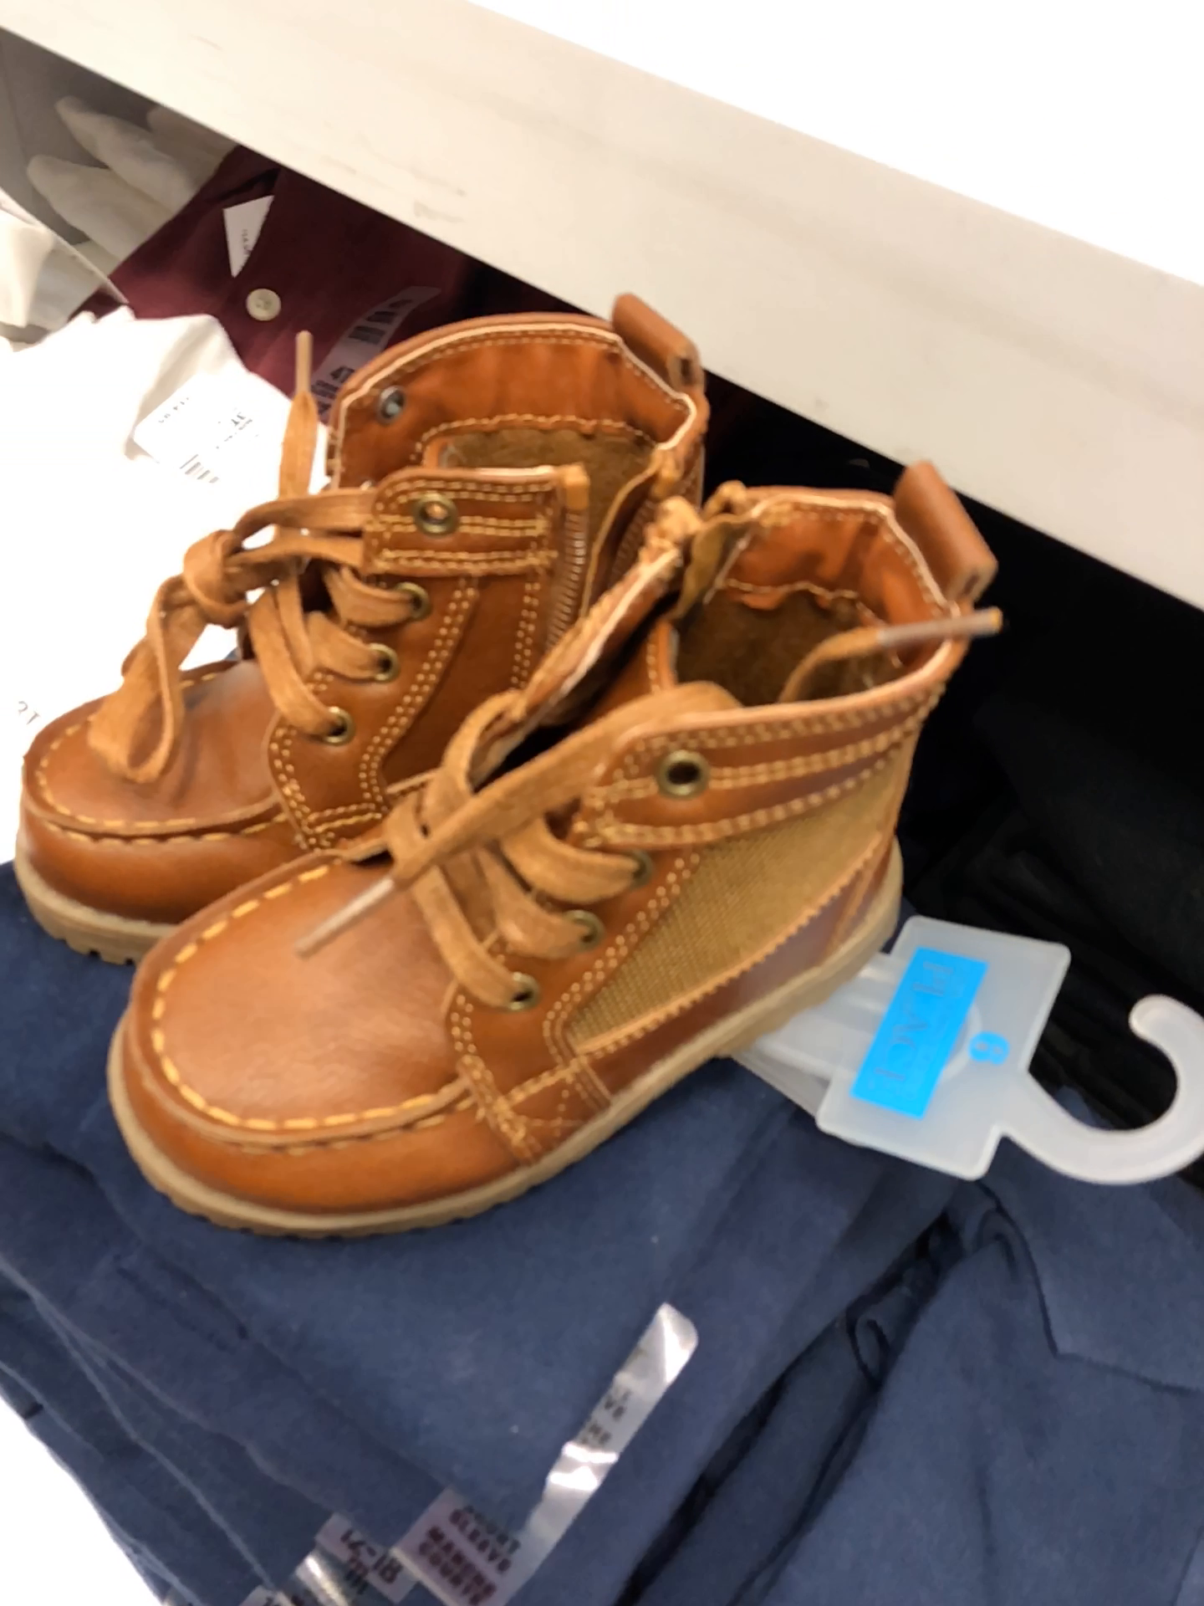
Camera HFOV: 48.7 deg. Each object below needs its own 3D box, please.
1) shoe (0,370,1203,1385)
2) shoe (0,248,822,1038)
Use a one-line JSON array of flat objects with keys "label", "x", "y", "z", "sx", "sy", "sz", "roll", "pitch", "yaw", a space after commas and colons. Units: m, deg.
[{"label": "shoe", "x": -0.003, "y": 0.011, "z": 0.218, "sx": 0.161, "sy": 0.101, "sz": 0.080, "roll": -18, "pitch": 59, "yaw": -18}, {"label": "shoe", "x": -0.051, "y": -0.033, "z": 0.256, "sx": 0.151, "sy": 0.101, "sz": 0.080, "roll": -11, "pitch": 47, "yaw": -13}]
